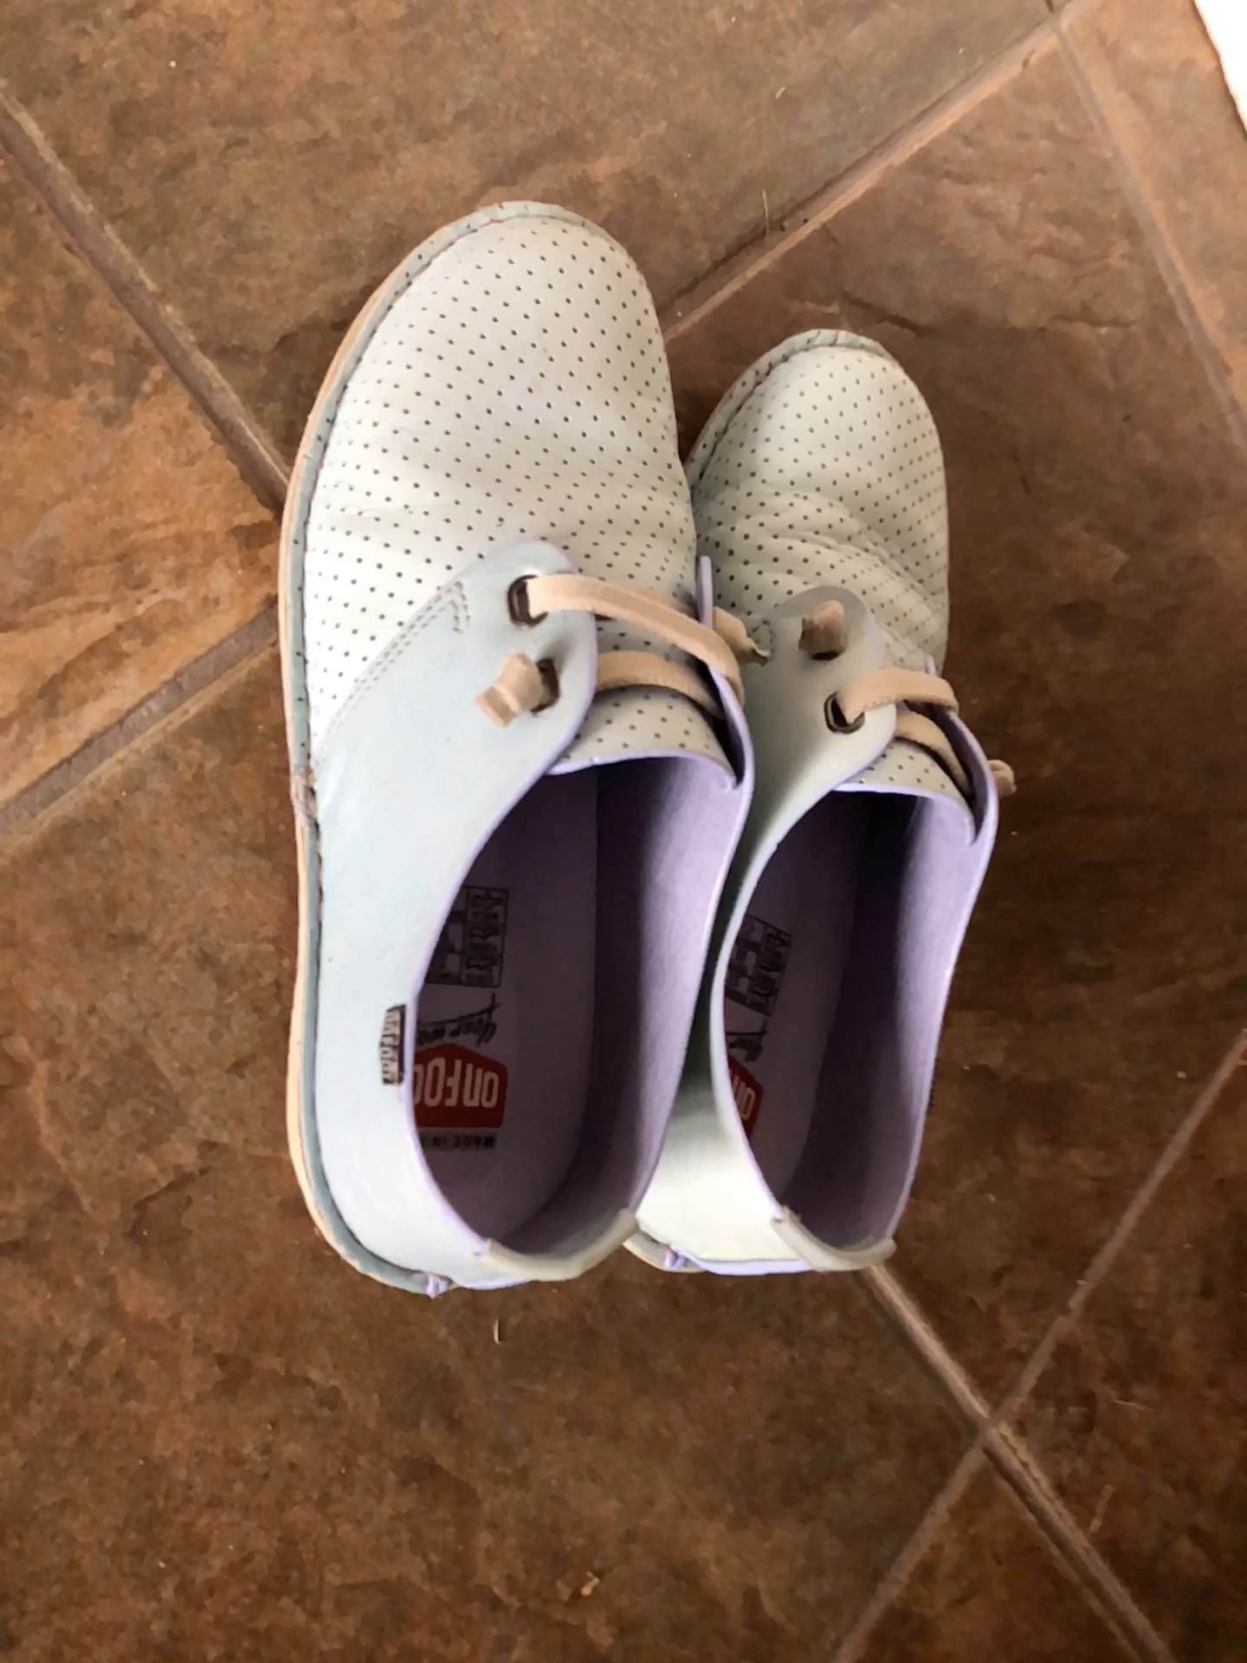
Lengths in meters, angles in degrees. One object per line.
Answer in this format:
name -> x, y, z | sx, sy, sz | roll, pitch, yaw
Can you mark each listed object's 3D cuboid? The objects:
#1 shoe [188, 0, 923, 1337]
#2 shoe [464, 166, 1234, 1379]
shoe -> -0.017, -0.030, 0.312 | 0.100, 0.100, 0.250 | 10, 84, -31
shoe -> 0.058, -0.011, 0.346 | 0.100, 0.100, 0.250 | 20, 79, -30
